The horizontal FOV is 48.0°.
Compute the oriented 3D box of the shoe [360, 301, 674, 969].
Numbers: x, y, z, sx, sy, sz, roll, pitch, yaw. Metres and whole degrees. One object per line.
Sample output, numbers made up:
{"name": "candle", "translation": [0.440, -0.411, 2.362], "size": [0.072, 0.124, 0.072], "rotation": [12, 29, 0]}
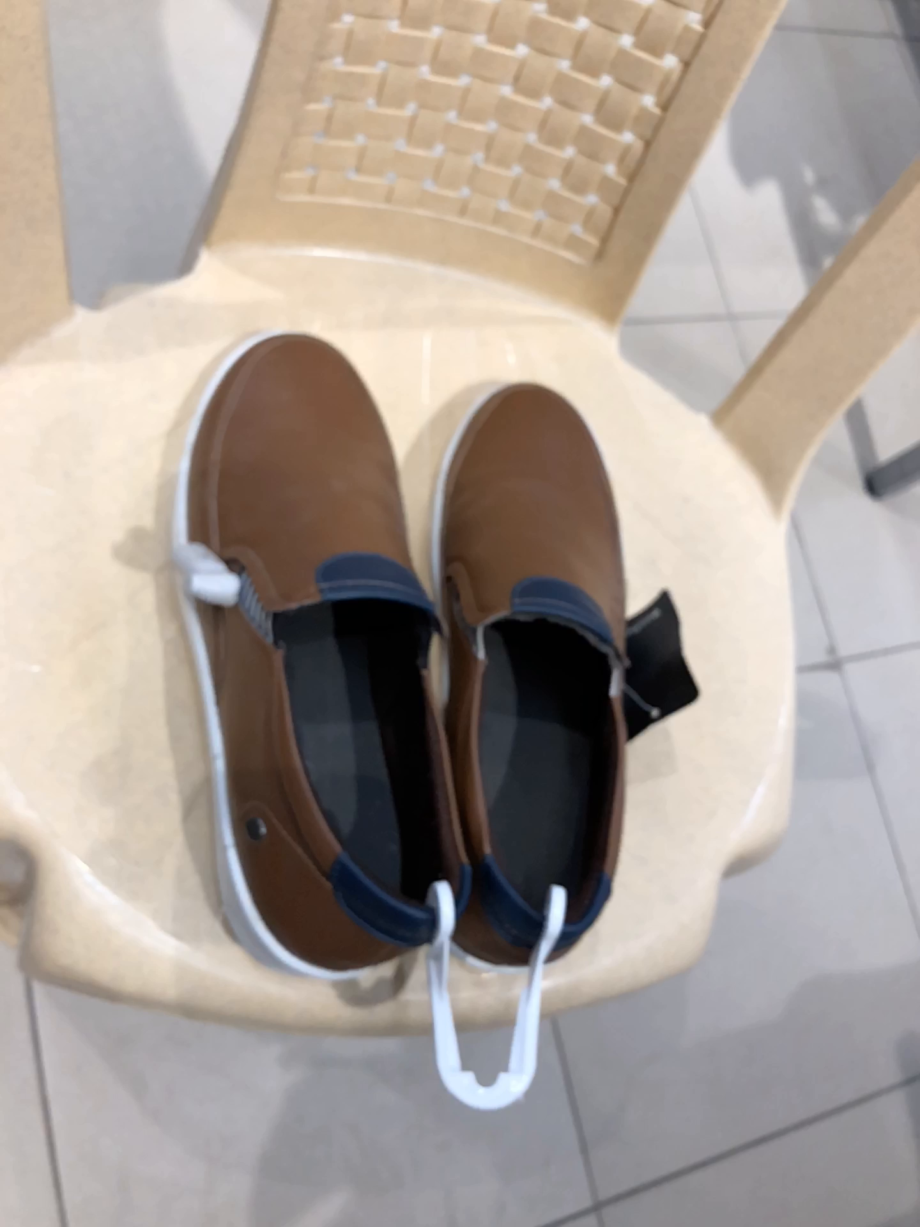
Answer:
{"name": "shoe", "translation": [0.028, 0.011, 0.464], "size": [0.105, 0.099, 0.271], "rotation": [8, 68, -9]}

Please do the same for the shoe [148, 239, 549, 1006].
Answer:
{"name": "shoe", "translation": [-0.053, 0.007, 0.419], "size": [0.105, 0.099, 0.271], "rotation": [11, 65, -42]}
